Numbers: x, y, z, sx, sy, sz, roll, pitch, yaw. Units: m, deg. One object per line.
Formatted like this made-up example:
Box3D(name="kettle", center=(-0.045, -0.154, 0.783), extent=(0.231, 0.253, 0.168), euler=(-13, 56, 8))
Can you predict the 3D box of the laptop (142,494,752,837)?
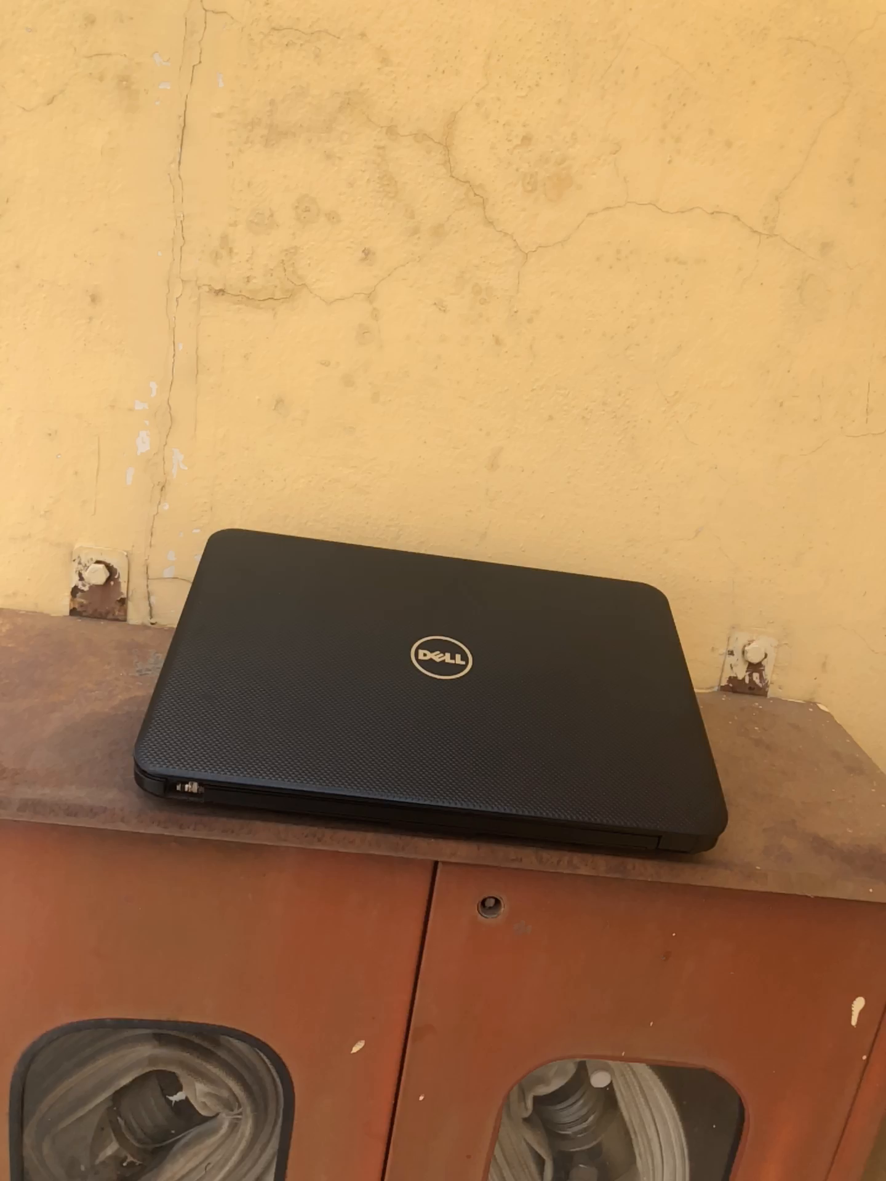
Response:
Box3D(name="laptop", center=(0.004, 0.042, 0.662), extent=(0.352, 0.098, 0.184), euler=(7, 27, -5))
